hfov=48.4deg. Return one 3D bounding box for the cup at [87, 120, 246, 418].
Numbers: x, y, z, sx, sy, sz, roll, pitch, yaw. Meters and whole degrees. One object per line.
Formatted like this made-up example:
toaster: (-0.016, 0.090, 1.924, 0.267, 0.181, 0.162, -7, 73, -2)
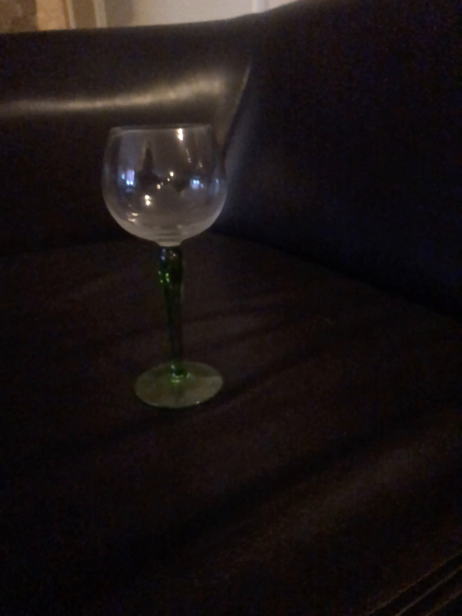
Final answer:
cup: (-0.043, -0.032, 0.360, 0.080, 0.185, 0.080, -1, 20, 0)
